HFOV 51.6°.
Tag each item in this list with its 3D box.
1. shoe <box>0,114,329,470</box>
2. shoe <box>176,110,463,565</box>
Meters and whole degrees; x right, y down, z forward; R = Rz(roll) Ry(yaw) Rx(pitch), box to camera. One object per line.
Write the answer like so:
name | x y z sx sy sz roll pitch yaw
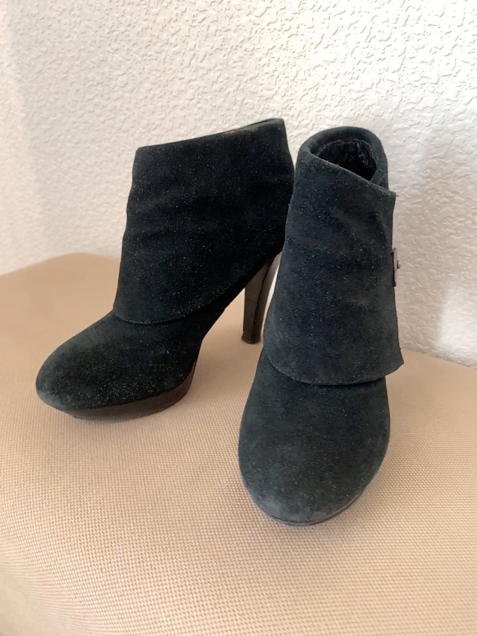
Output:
shoe | -0.052 -0.036 0.337 0.218 0.166 0.090 -23 37 -34
shoe | 0.050 -0.017 0.288 0.090 0.166 0.218 7 30 13
